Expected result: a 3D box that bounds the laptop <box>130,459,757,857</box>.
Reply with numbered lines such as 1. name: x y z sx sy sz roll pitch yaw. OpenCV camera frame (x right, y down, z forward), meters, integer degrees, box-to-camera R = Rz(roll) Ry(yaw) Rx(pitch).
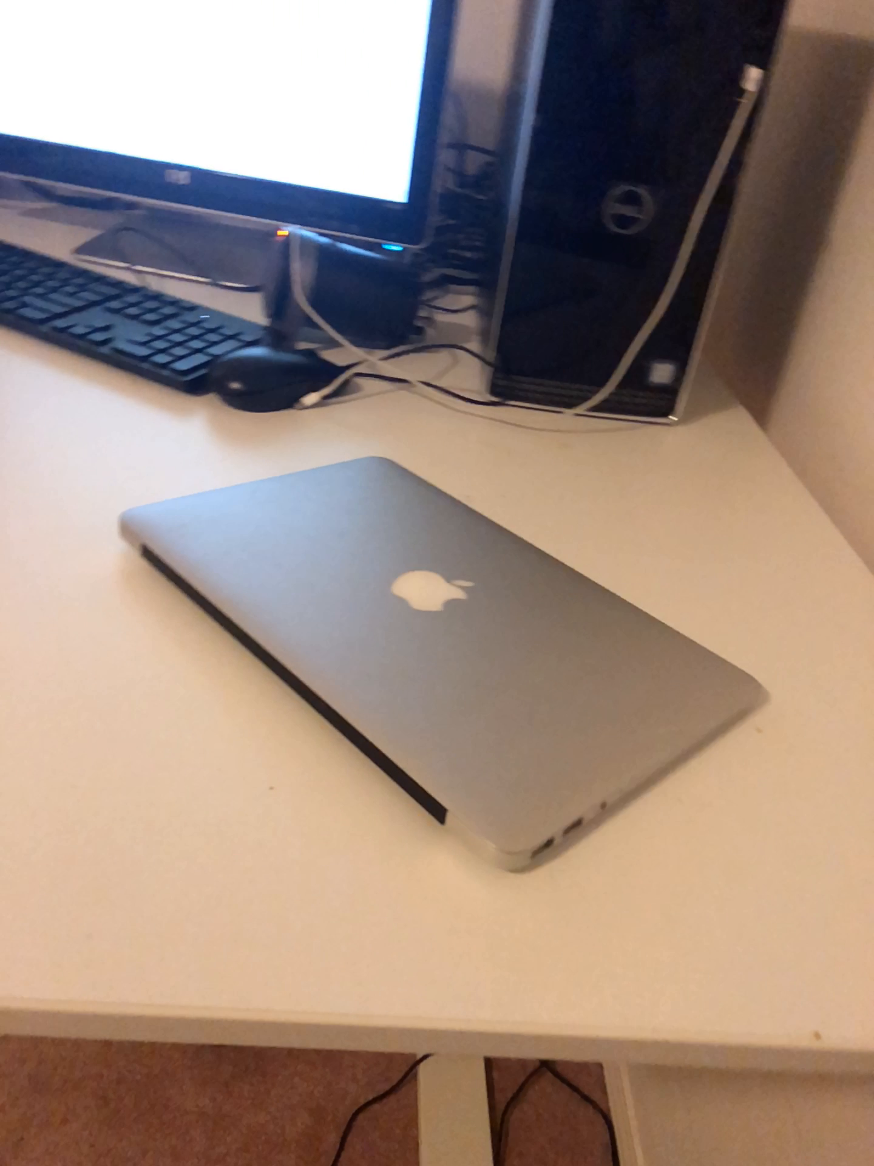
1. laptop: -0.005 0.010 0.500 0.178 0.004 0.291 -20 42 -40
